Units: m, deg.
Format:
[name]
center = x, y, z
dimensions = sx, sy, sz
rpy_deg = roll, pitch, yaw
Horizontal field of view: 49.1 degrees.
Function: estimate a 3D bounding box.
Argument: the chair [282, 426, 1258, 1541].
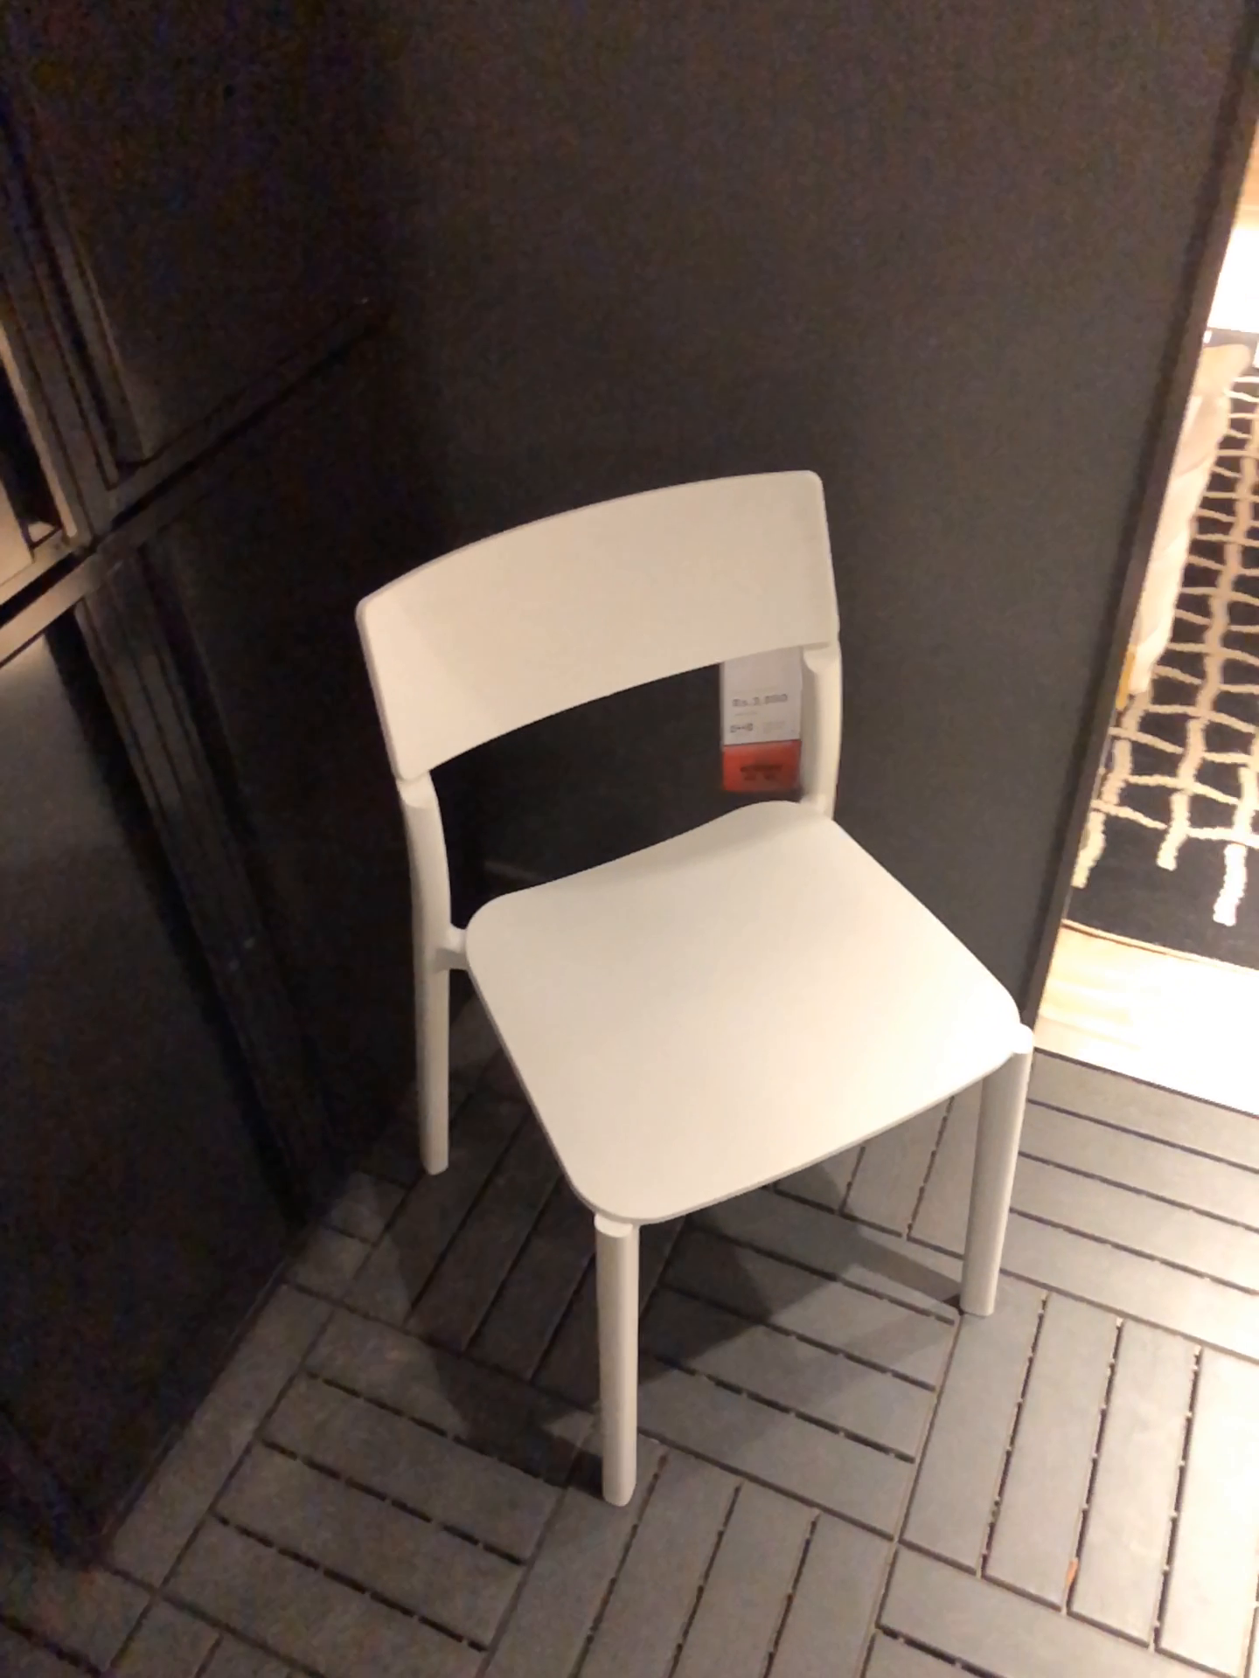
[chair]
center = 0.080, 0.127, 1.188
dimensions = 0.500, 0.705, 0.473
rpy_deg = -20, 45, -17
